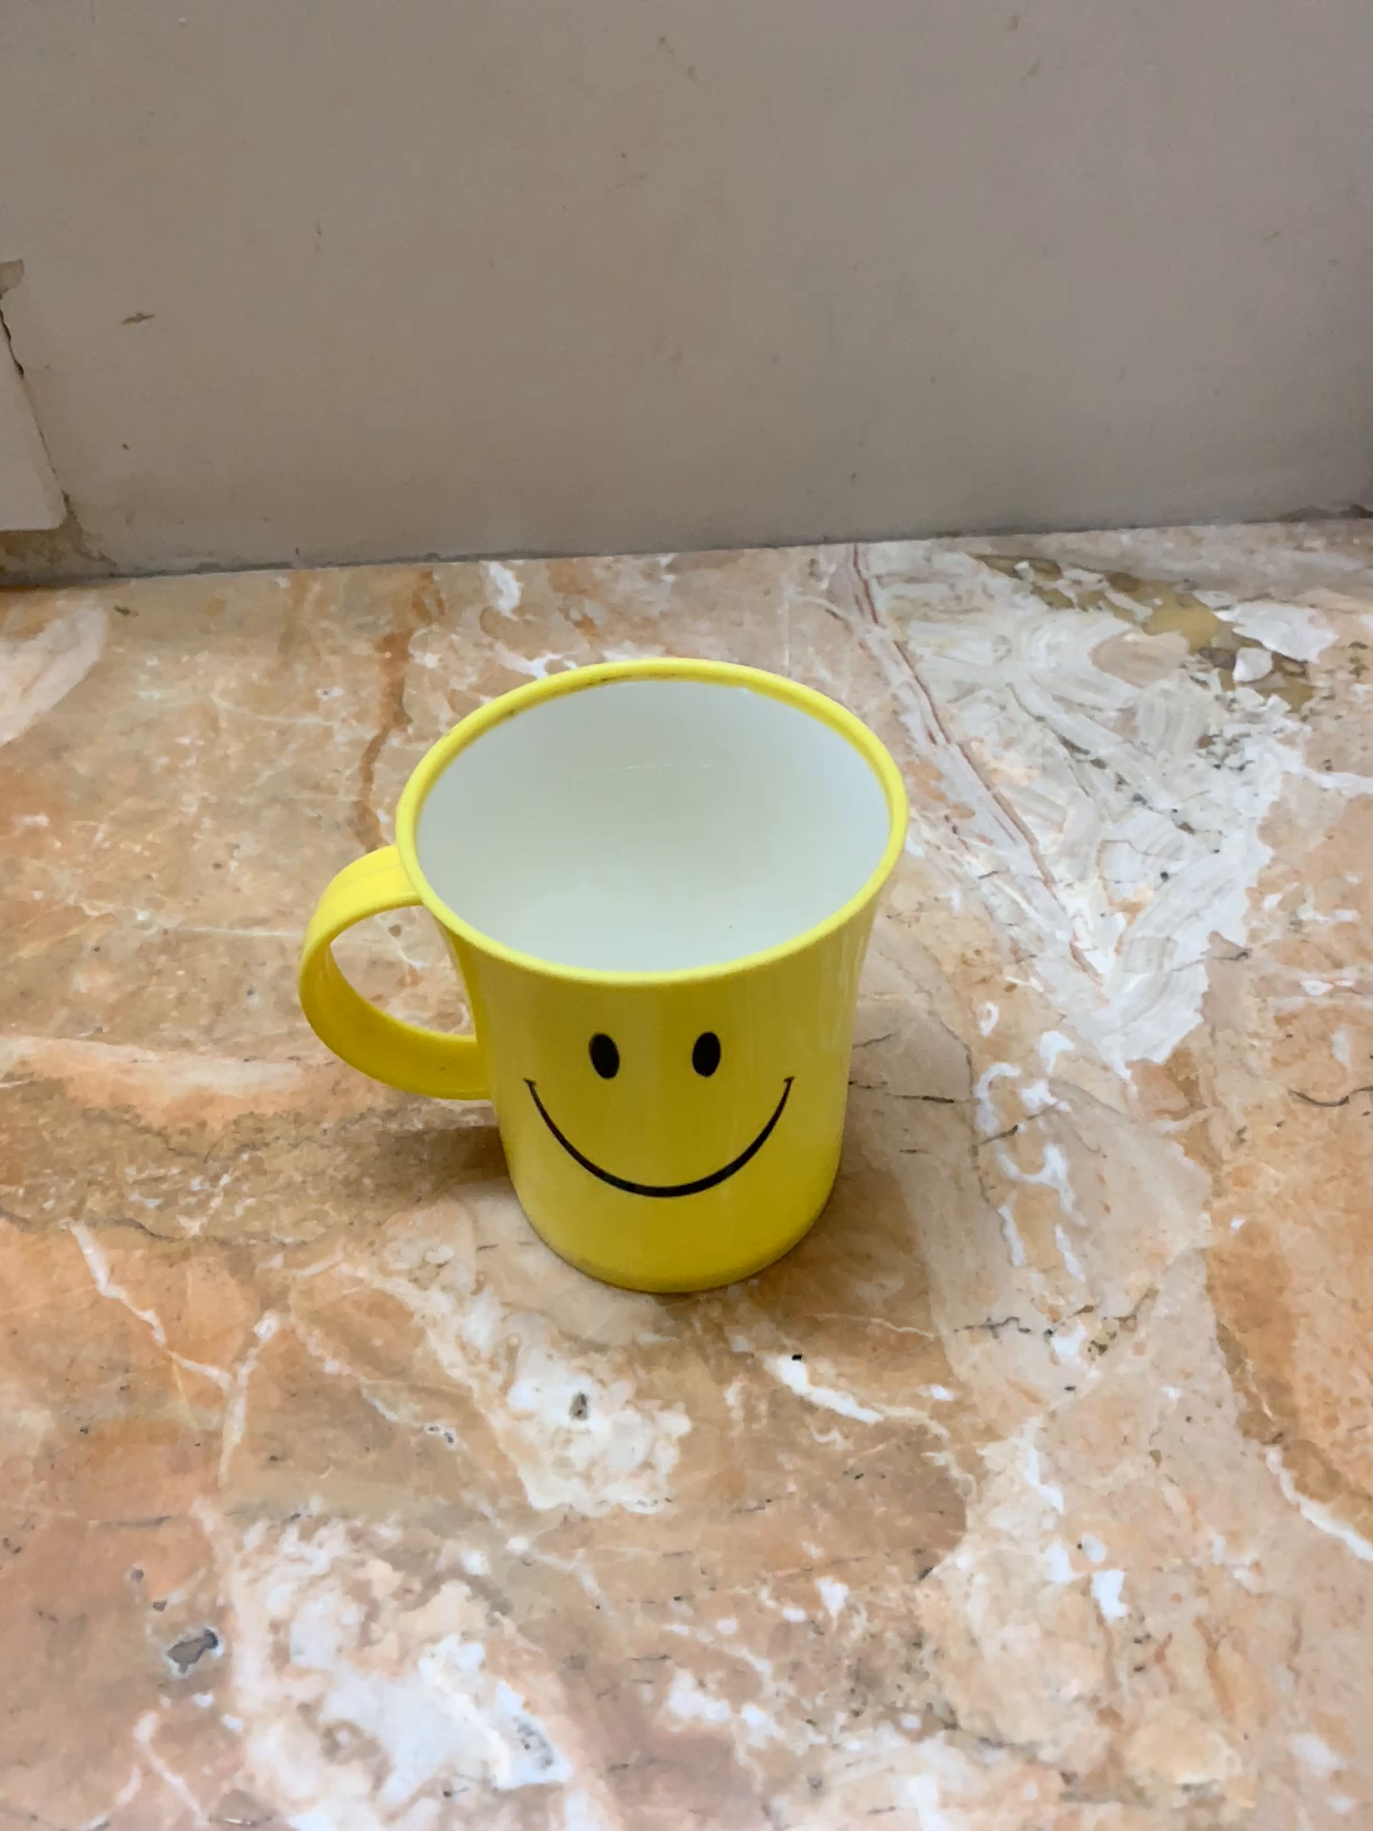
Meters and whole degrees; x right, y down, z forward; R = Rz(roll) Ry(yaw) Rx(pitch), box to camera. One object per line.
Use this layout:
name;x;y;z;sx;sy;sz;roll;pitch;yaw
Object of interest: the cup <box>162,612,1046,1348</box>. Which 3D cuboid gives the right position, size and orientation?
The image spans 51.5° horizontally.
cup;-0.011;0.012;0.233;0.110;0.089;0.071;-4;44;-2
